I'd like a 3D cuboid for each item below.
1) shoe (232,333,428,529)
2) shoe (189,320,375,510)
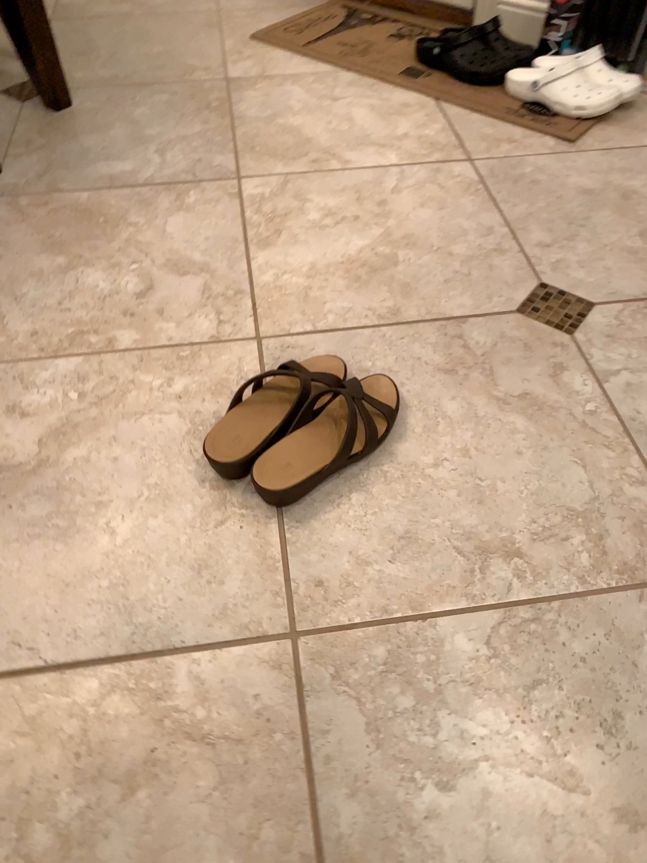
[{"bbox_3d":[0.014,-0.009,0.885,0.110,0.092,0.259,34,57,25],"label":"shoe"},{"bbox_3d":[-0.050,-0.032,0.931,0.110,0.092,0.264,30,55,23],"label":"shoe"}]
